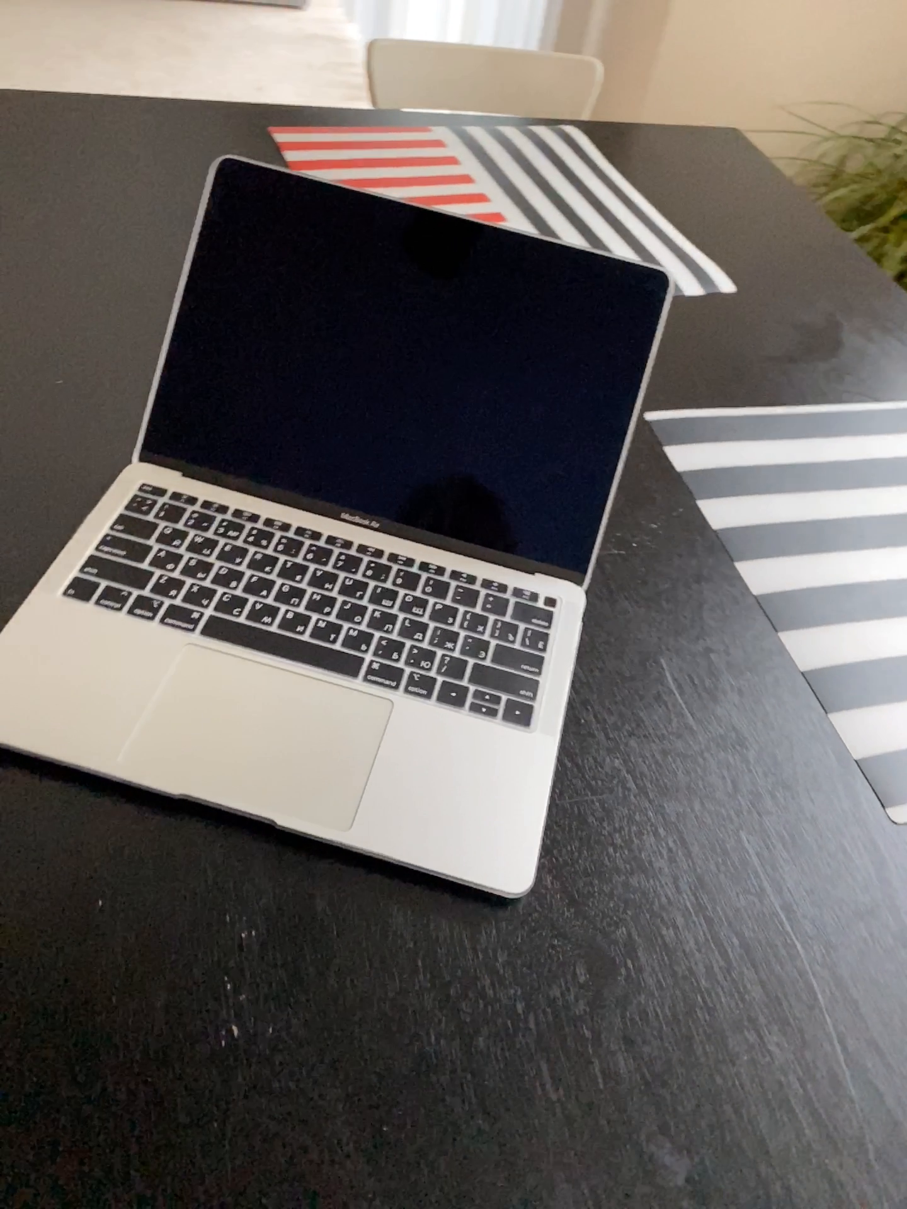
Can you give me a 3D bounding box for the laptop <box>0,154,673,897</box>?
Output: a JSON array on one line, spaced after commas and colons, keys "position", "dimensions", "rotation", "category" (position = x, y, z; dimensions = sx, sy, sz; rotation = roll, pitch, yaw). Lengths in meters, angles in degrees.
[{"position": [-0.056, -0.075, 0.514], "dimensions": [0.296, 0.139, 0.363], "rotation": [15, 48, 2], "category": "laptop"}]
